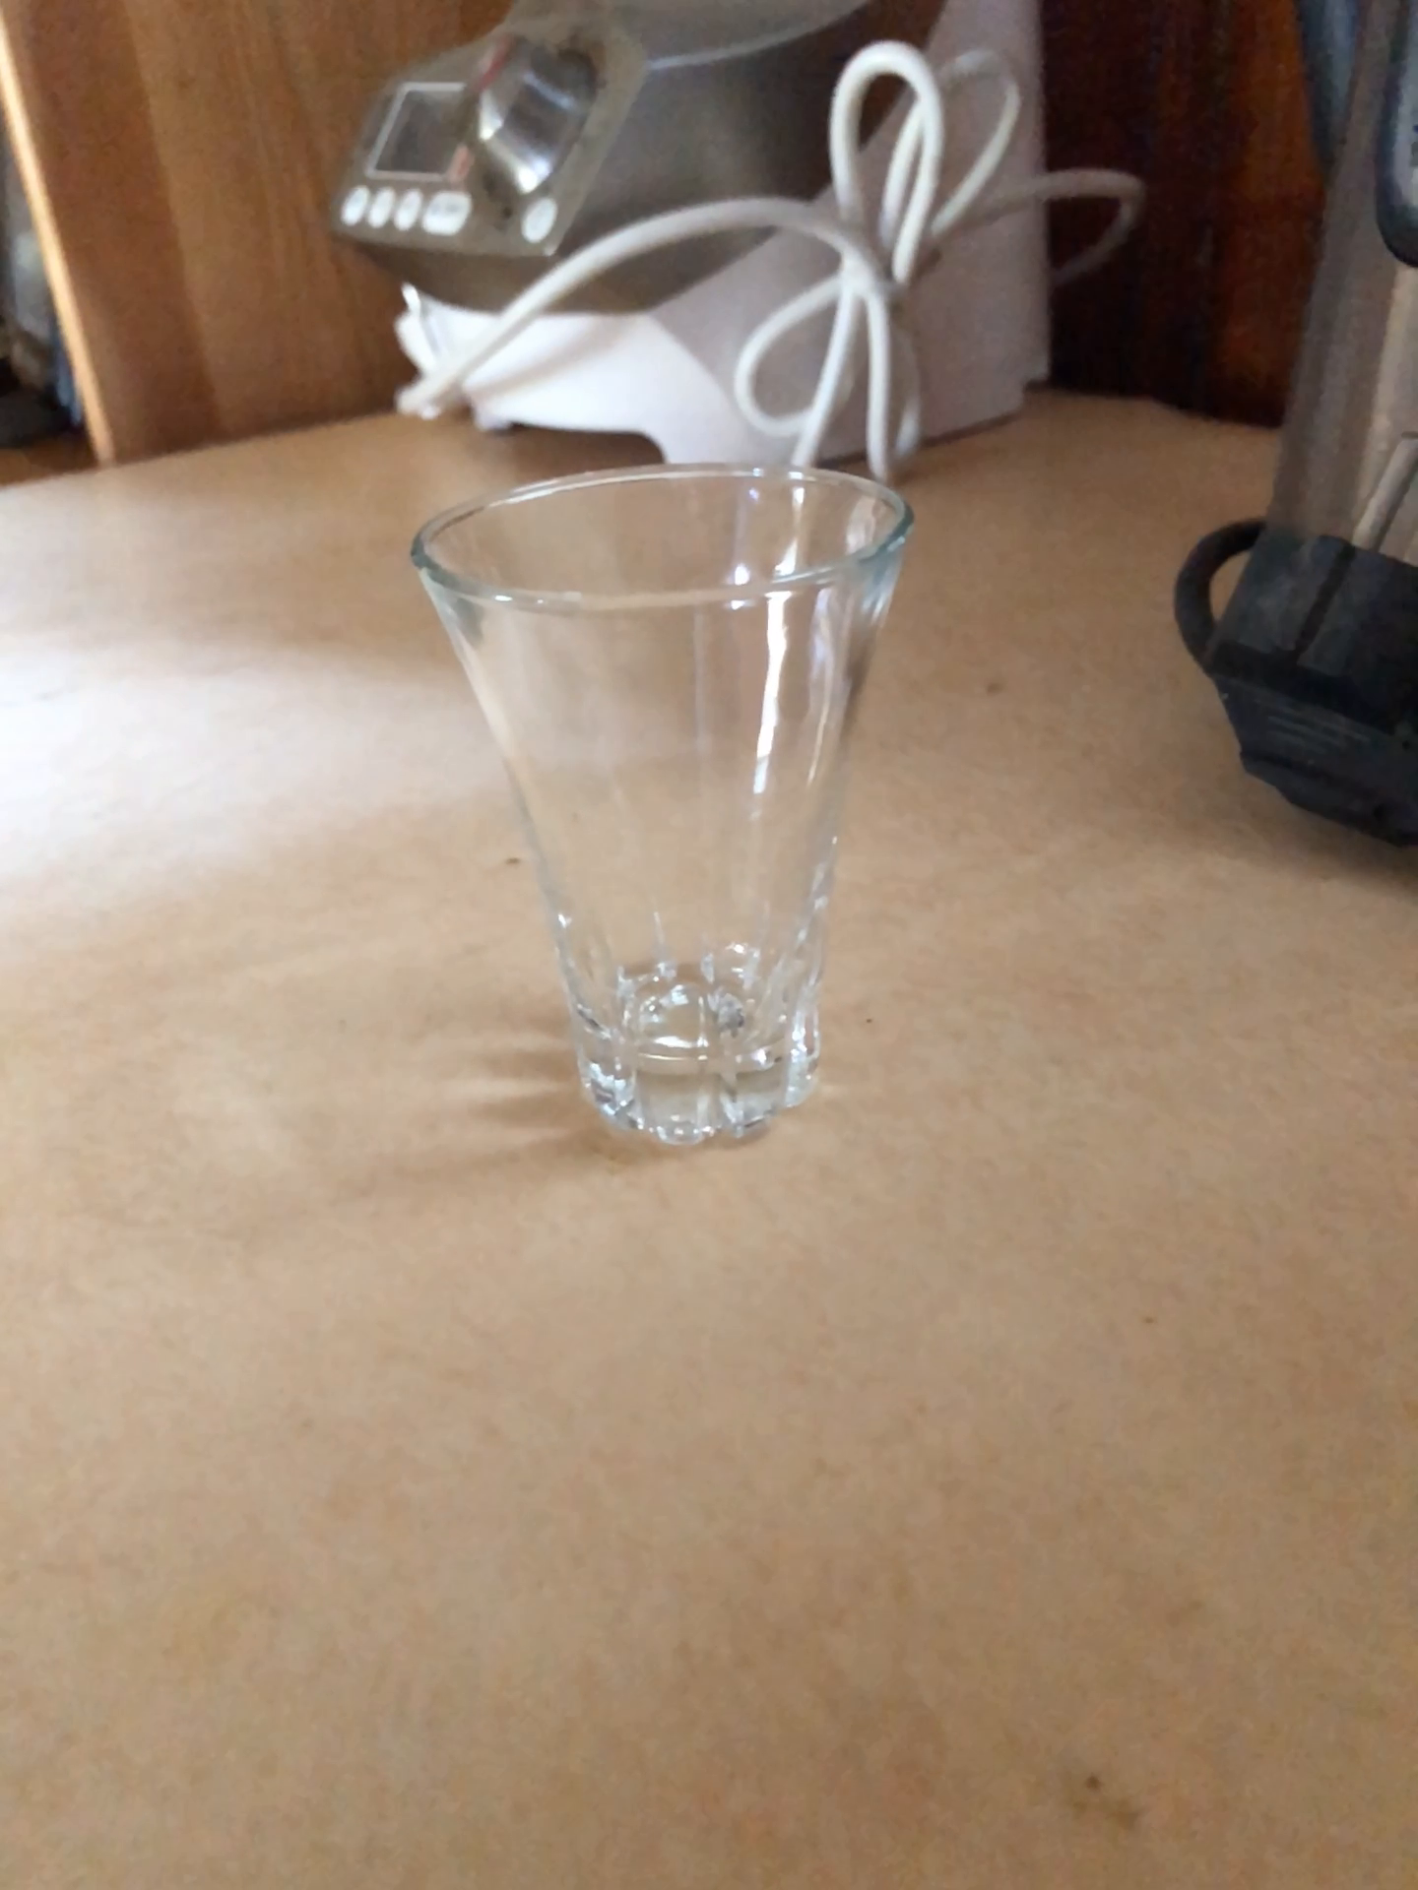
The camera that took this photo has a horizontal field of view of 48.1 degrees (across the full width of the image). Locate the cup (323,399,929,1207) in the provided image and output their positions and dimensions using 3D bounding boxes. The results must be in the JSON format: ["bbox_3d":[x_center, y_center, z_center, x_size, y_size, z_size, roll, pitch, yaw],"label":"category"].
[{"bbox_3d":[-0.009,-0.019,0.182,0.050,0.070,0.050,-4,30,2],"label":"cup"}]
